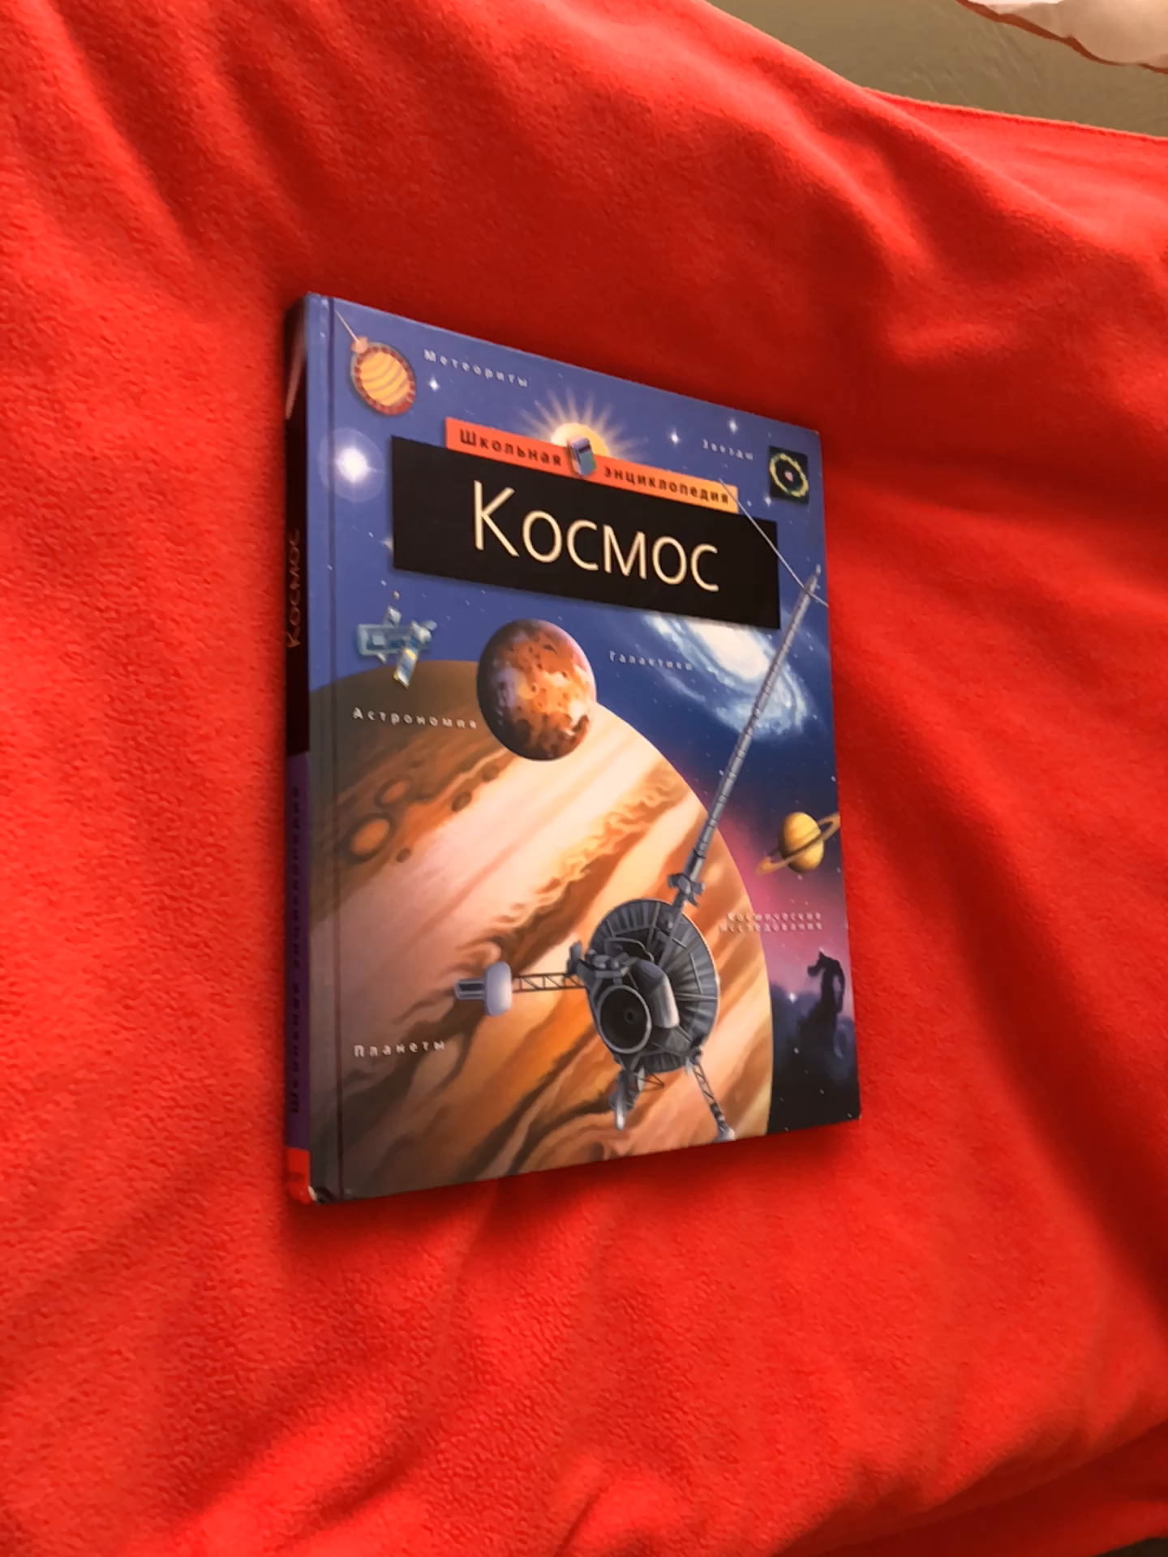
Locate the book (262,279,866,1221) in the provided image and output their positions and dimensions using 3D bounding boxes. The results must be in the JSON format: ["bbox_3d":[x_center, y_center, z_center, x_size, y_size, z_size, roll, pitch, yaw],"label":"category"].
[{"bbox_3d":[0.002,-0.008,0.464,0.236,0.030,0.284,3,82,-36],"label":"book"}]
